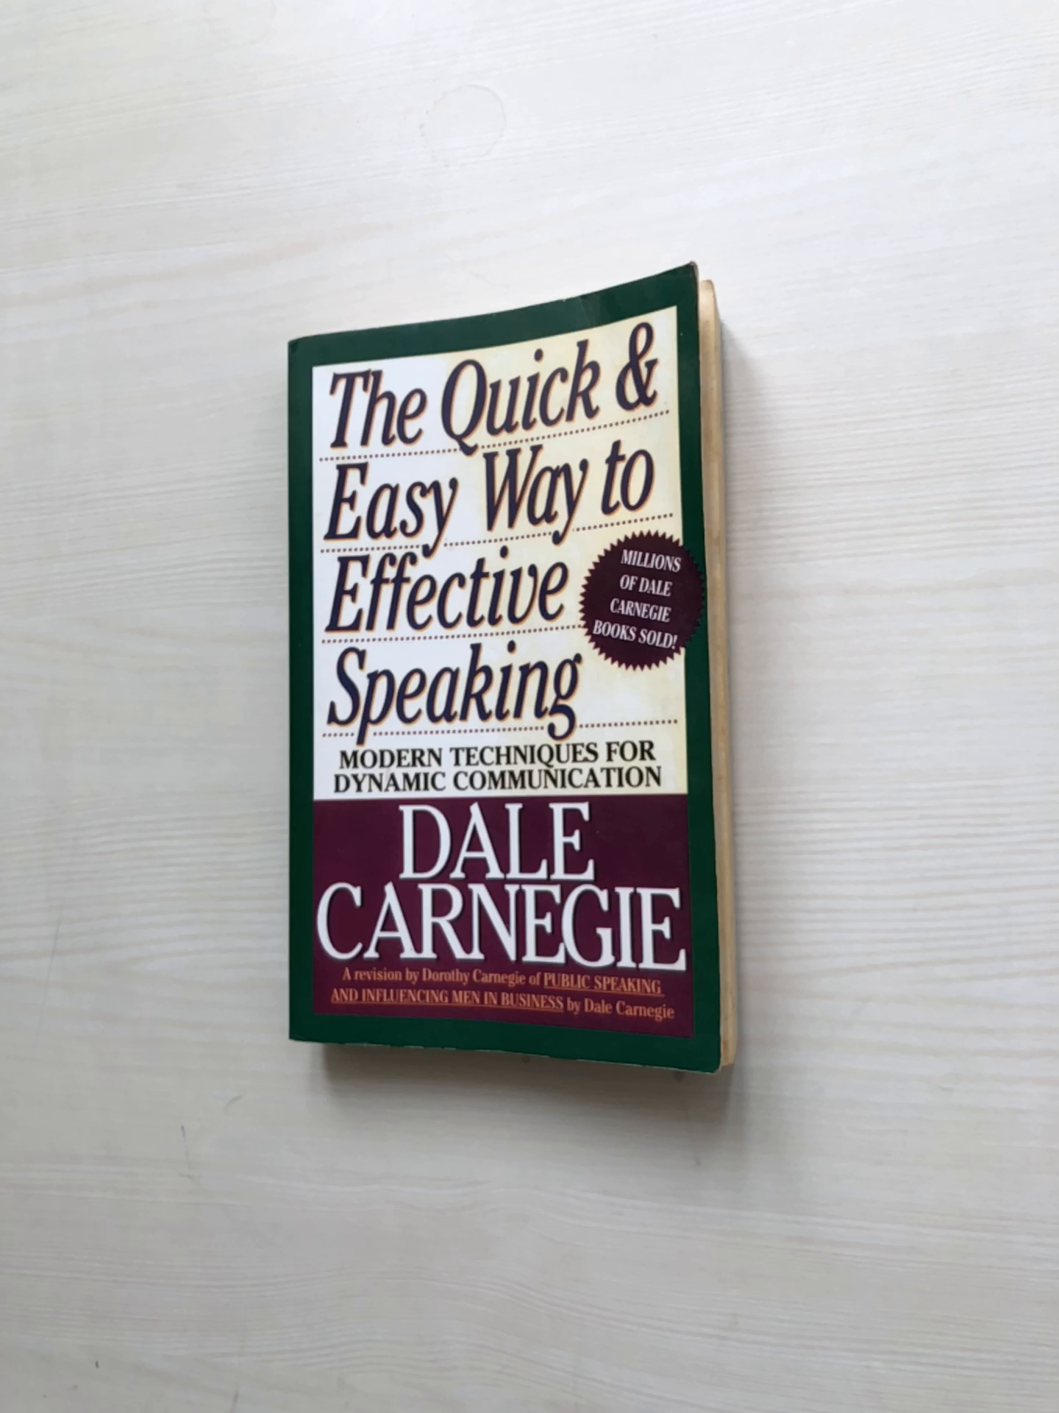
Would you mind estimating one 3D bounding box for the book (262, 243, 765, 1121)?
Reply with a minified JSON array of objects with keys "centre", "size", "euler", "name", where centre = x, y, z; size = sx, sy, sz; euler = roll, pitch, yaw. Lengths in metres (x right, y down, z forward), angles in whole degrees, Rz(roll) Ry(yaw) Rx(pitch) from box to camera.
[{"centre":[-0.004,-0.005,0.282],"size":[0.110,0.040,0.180],"euler":[-1,86,22],"name":"book"}]
